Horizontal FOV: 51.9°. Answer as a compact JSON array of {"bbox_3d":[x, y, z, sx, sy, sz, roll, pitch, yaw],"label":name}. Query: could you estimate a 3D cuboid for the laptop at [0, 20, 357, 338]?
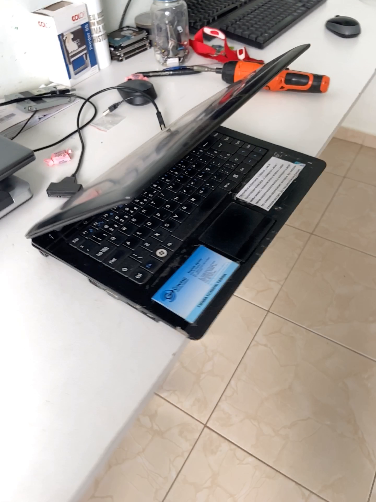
[{"bbox_3d":[0.006,-0.118,0.447,0.227,0.144,0.337,26,54,24],"label":"laptop"}]
